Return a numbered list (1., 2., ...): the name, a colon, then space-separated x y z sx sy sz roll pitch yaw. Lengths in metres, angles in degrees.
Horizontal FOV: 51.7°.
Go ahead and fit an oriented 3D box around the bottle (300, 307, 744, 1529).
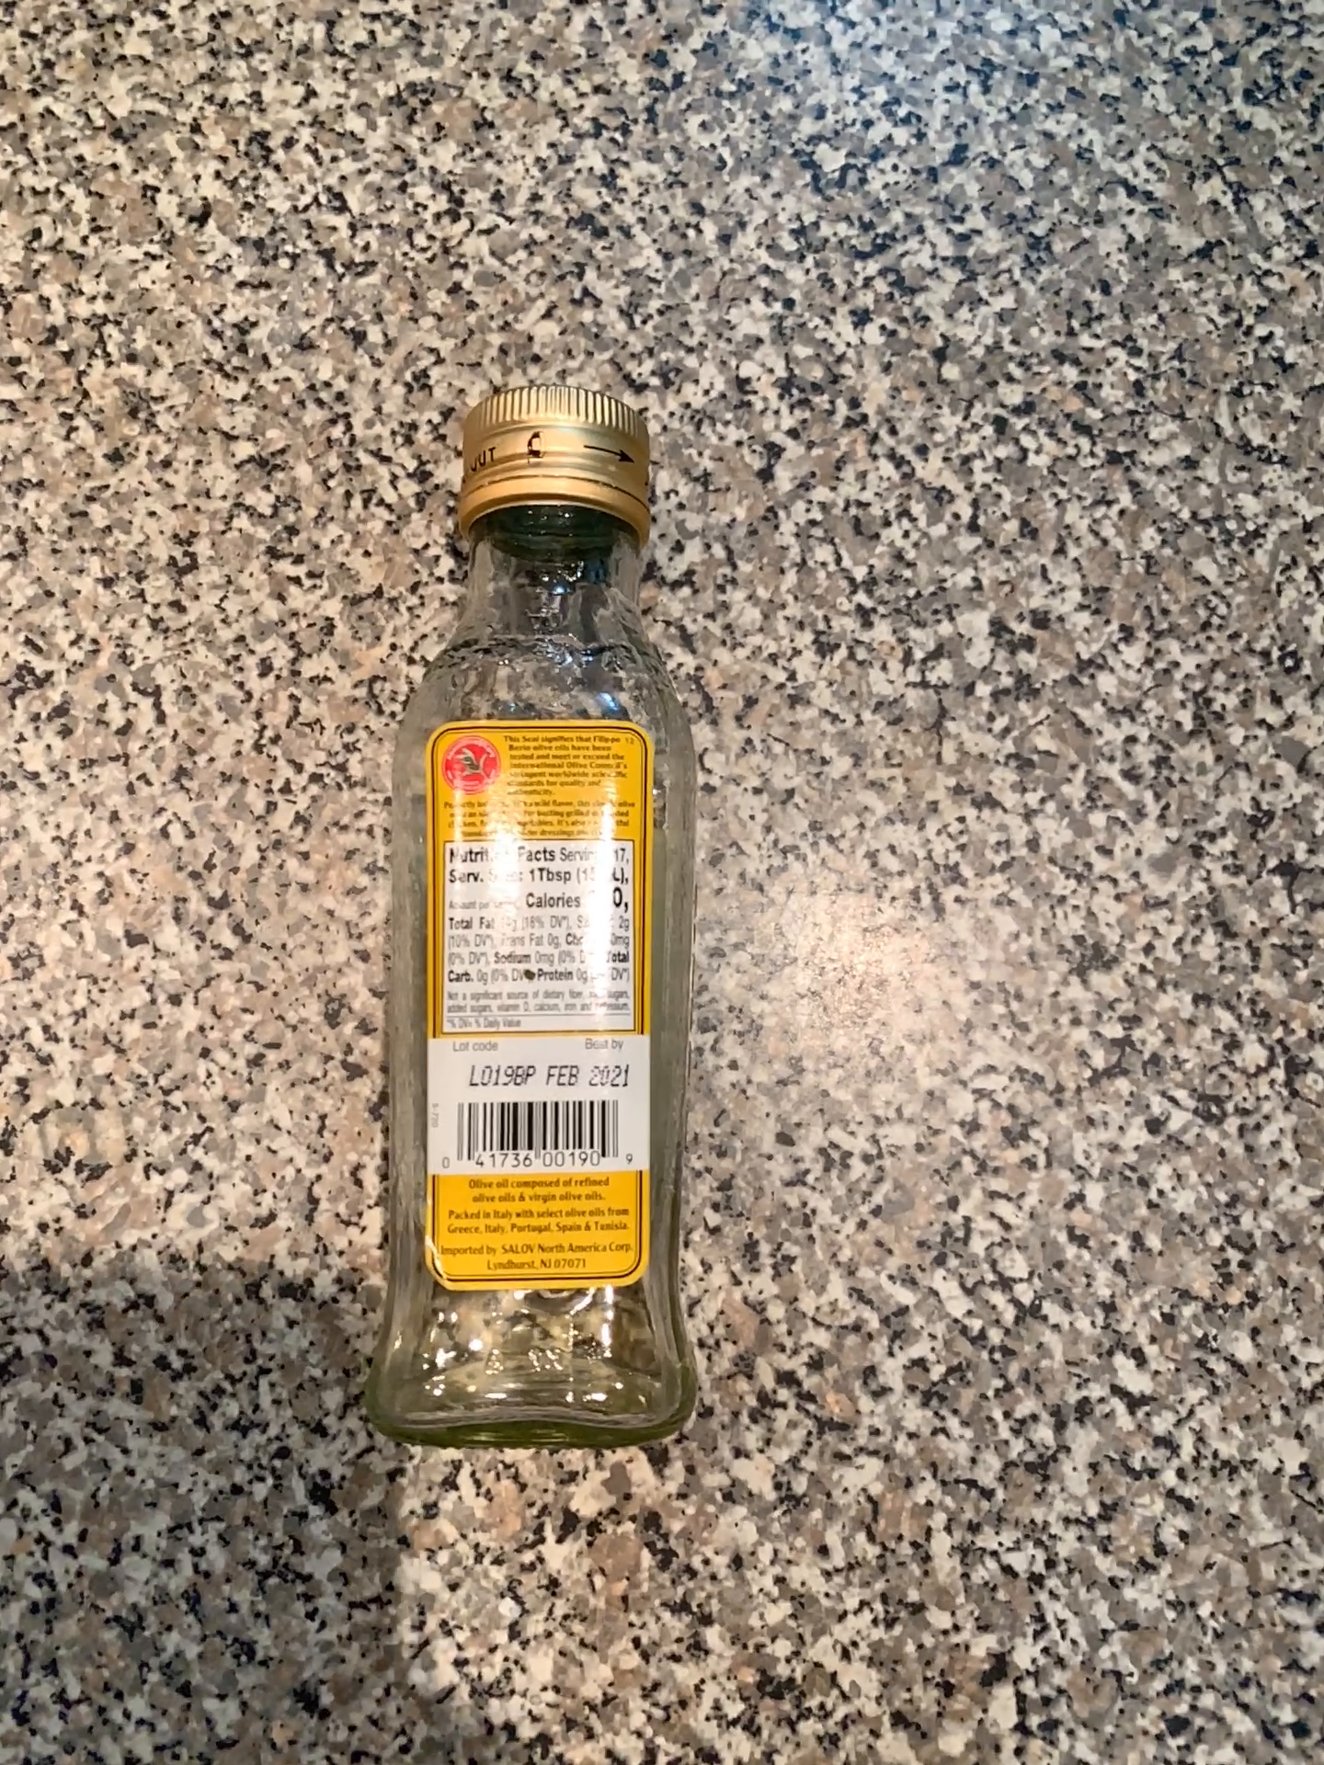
1. bottle: -0.020 0.004 0.230 0.060 0.060 0.180 0 81 -2
